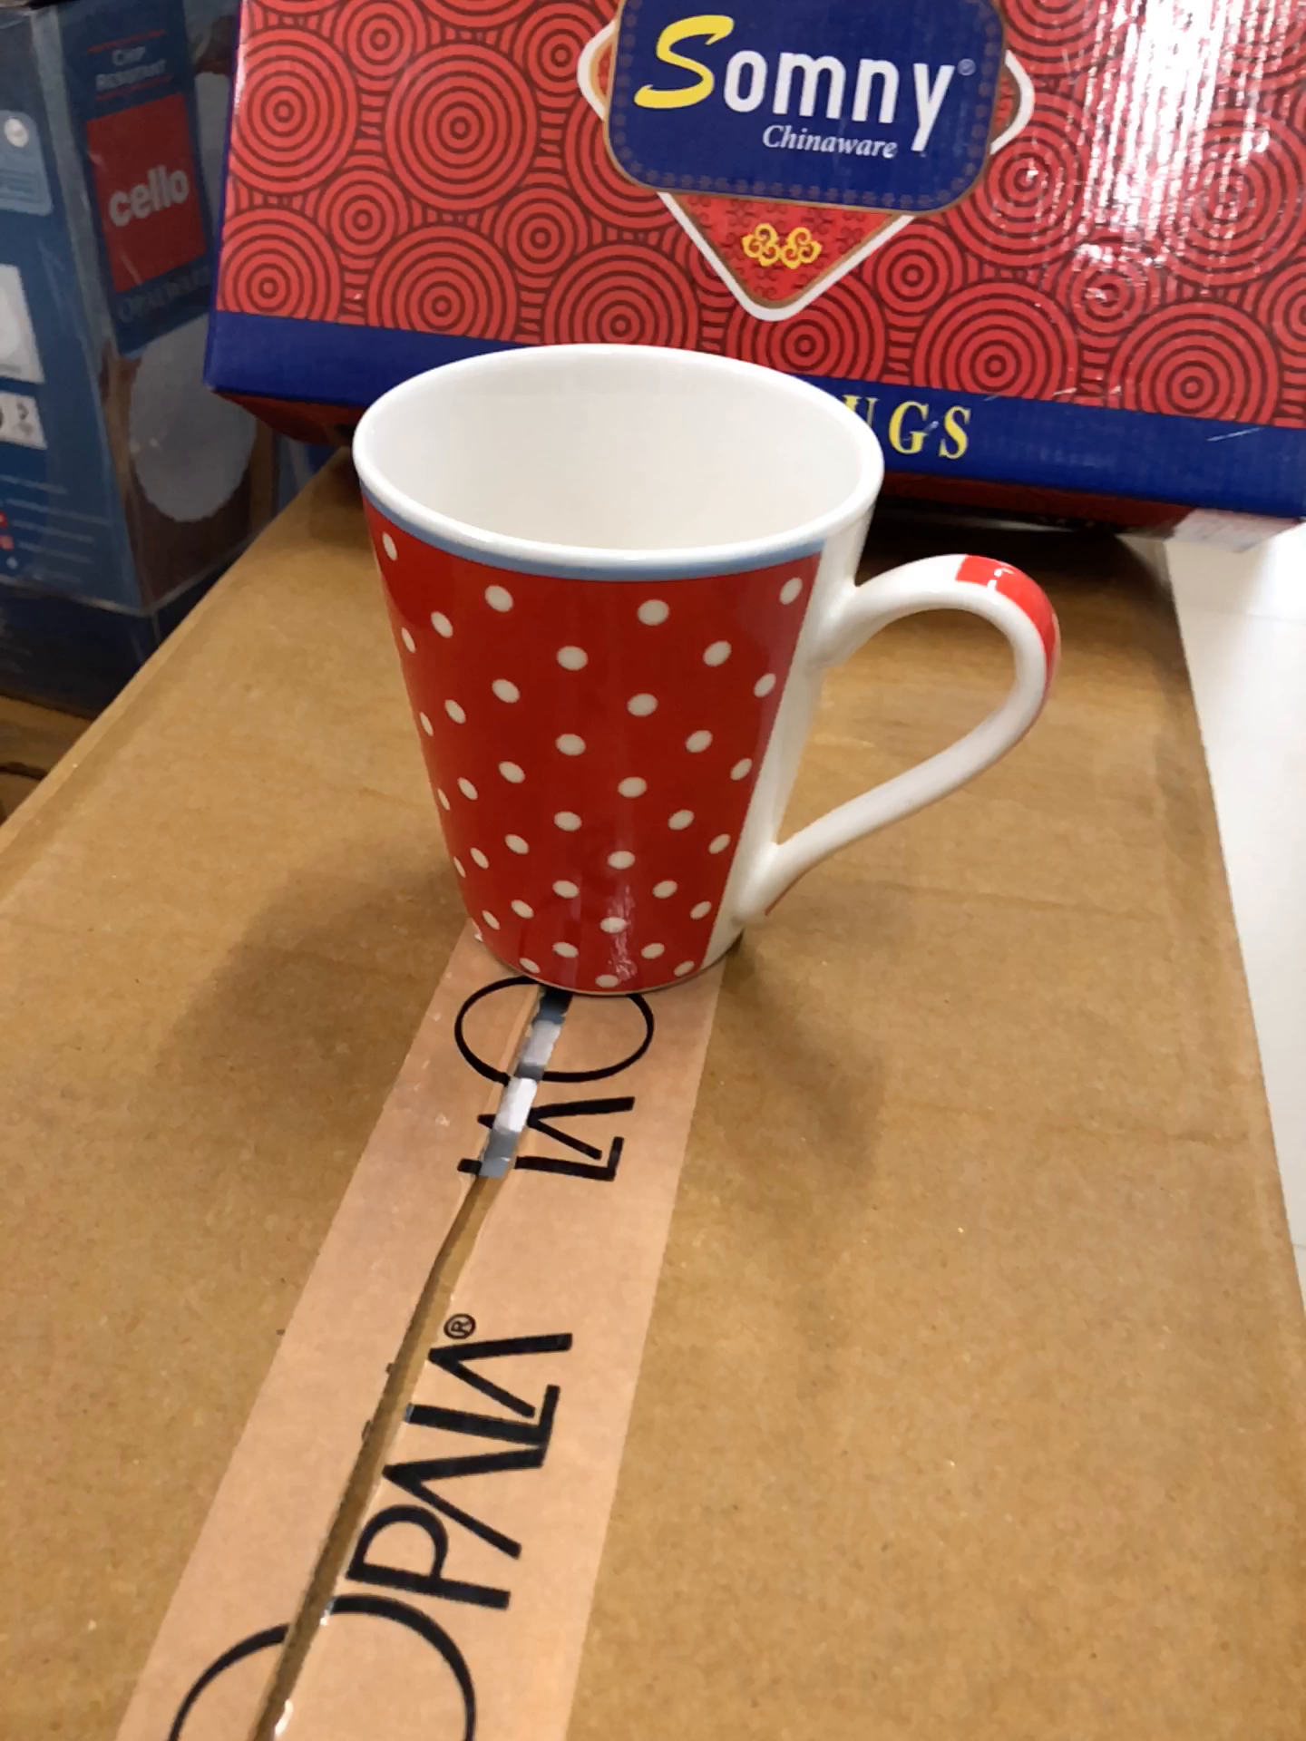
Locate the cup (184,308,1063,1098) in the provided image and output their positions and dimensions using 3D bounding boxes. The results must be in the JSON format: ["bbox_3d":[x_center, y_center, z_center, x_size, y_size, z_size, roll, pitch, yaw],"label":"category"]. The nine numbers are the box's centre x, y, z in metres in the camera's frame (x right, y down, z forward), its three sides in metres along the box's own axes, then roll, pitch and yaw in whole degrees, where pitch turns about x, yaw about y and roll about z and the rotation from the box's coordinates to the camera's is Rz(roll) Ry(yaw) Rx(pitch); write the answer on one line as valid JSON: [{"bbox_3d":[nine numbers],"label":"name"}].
[{"bbox_3d":[-0.001,-0.034,0.257,0.120,0.089,0.081,13,39,12],"label":"cup"}]
